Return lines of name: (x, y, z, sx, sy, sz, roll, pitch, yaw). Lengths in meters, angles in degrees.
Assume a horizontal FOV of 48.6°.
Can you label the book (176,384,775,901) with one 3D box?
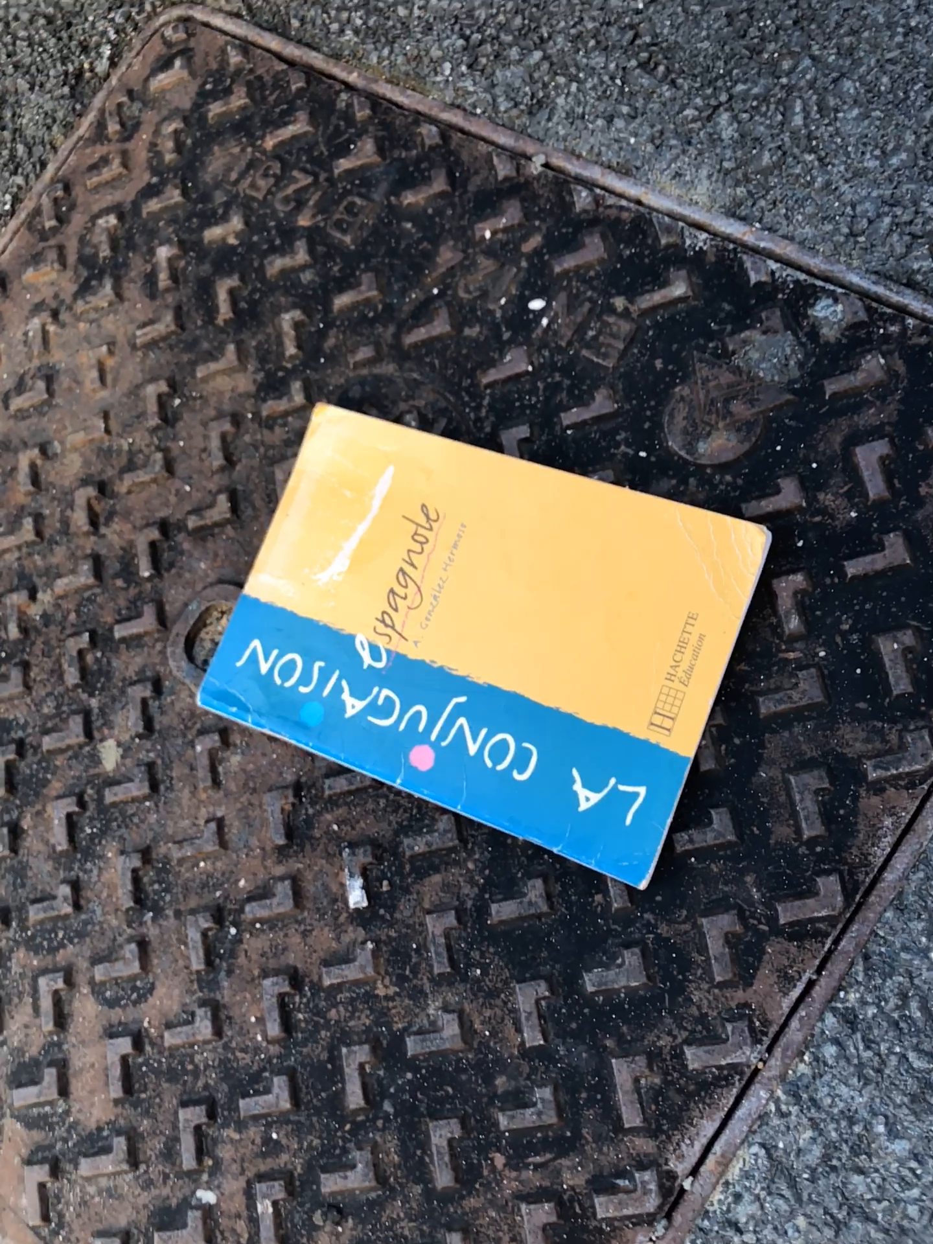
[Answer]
book: (-0.001, -0.001, 0.384, 0.187, 0.017, 0.140, 19, 82, 20)
